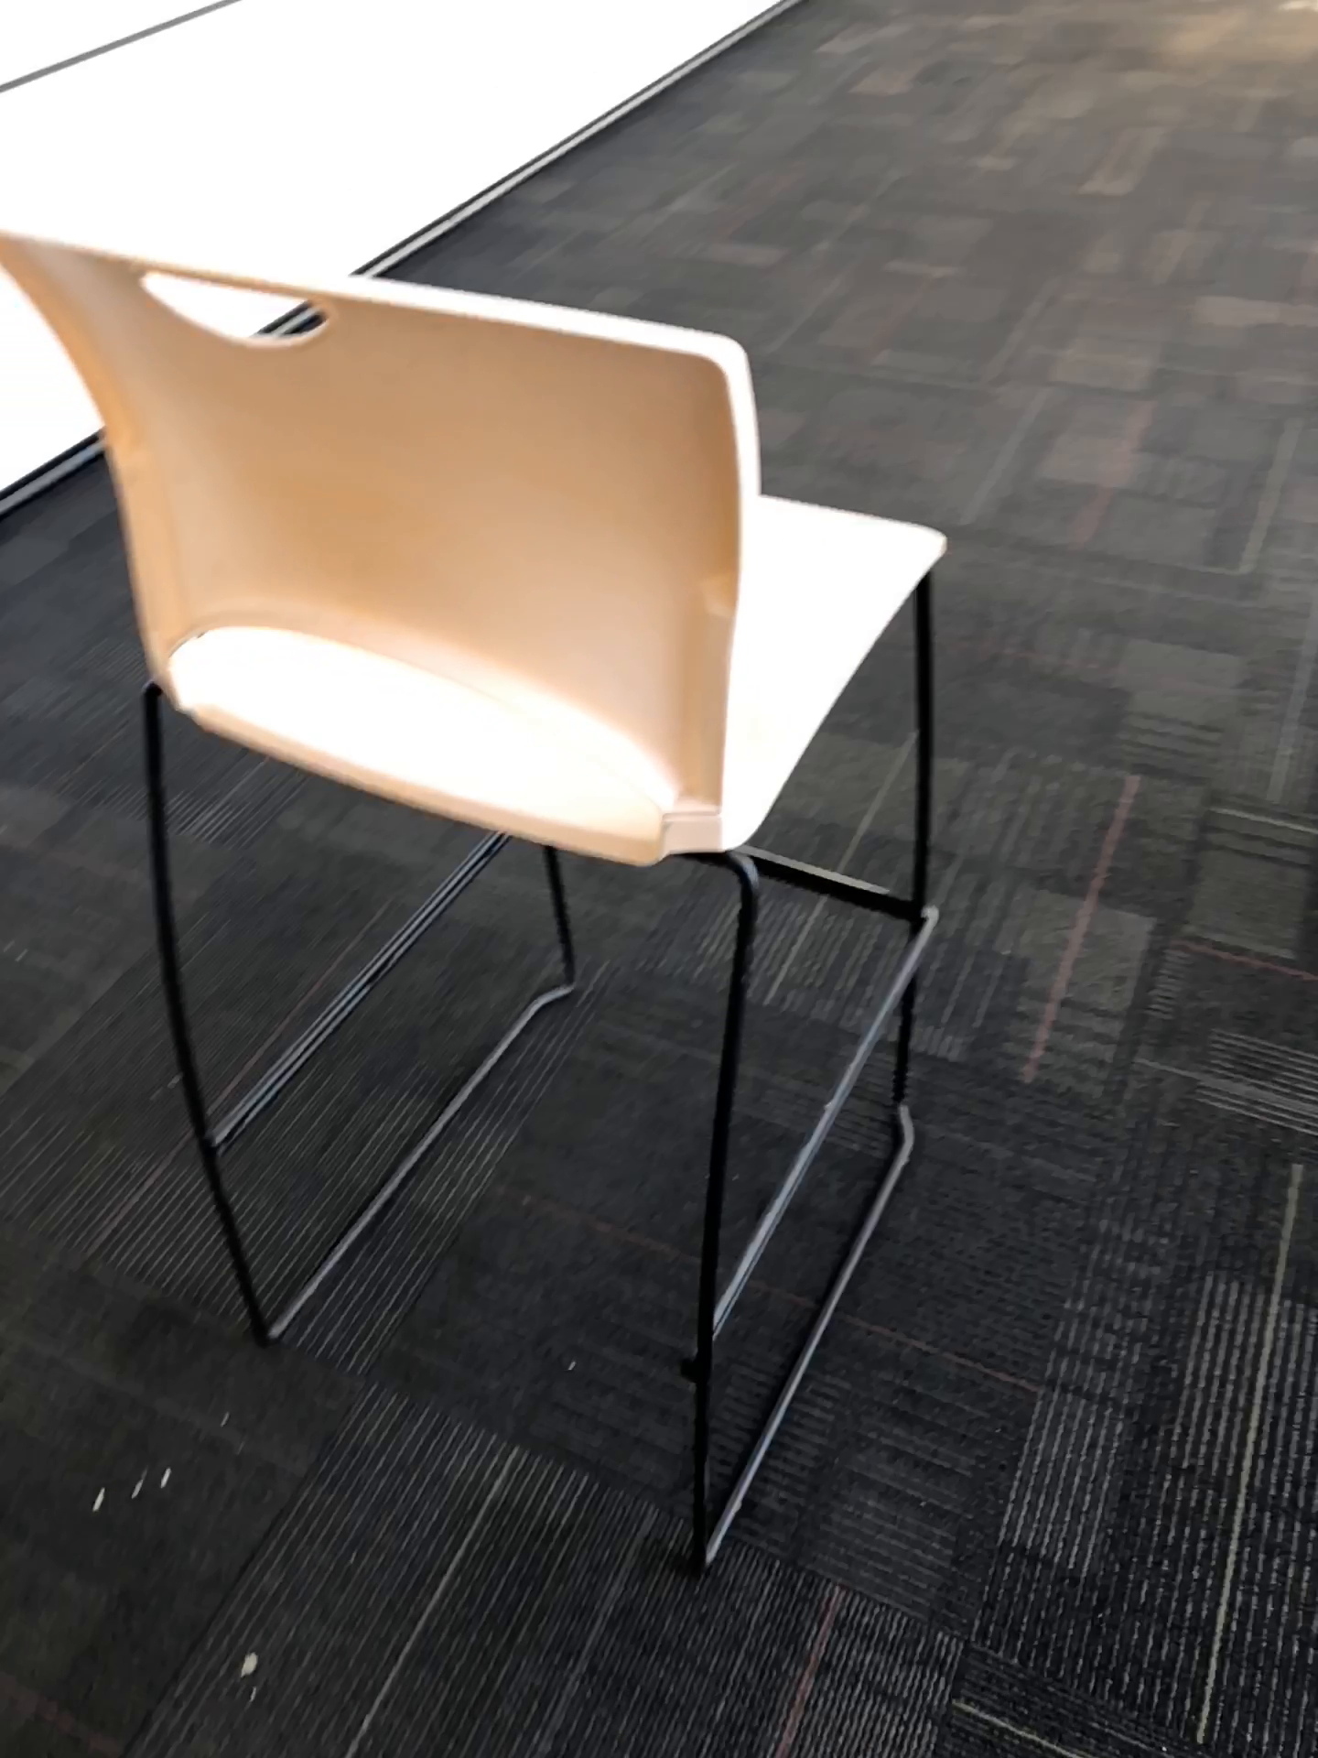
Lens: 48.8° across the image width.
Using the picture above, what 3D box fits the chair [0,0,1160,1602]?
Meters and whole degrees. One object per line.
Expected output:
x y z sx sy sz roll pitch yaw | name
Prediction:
-0.055 -0.084 1.202 0.581 0.995 0.722 18 46 23 | chair
